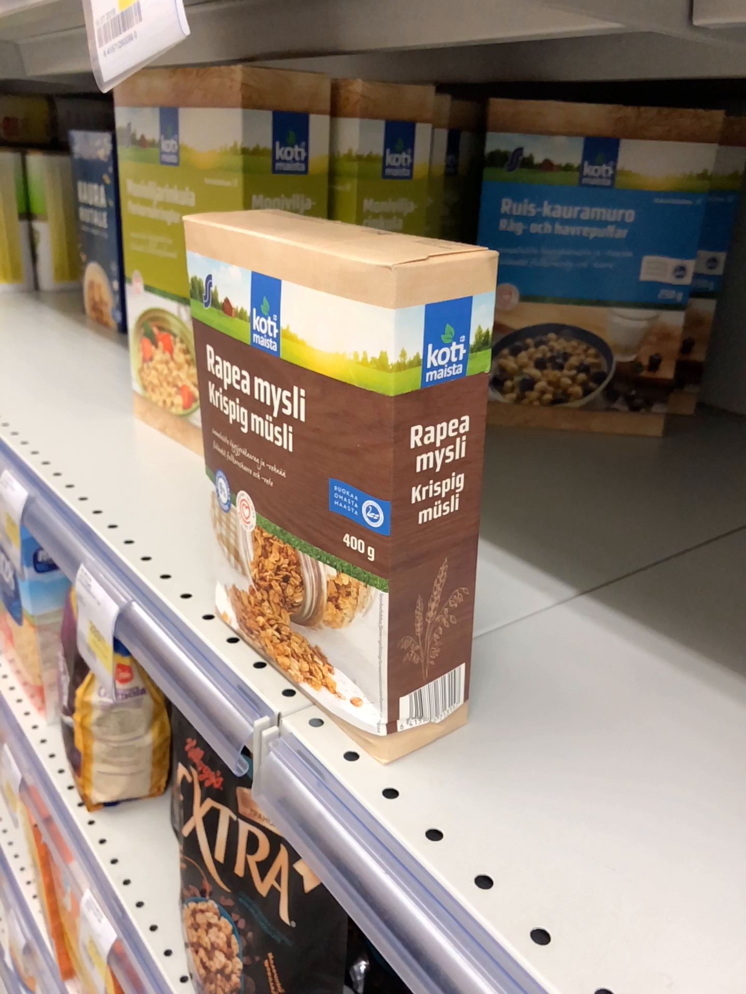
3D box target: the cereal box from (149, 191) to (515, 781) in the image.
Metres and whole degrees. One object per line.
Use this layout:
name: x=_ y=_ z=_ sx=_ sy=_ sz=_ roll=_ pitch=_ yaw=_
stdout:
cereal box: x=-0.024 y=-0.015 z=0.329 sx=0.050 sy=0.189 sz=0.150 roll=-17 pitch=30 yaw=-35
